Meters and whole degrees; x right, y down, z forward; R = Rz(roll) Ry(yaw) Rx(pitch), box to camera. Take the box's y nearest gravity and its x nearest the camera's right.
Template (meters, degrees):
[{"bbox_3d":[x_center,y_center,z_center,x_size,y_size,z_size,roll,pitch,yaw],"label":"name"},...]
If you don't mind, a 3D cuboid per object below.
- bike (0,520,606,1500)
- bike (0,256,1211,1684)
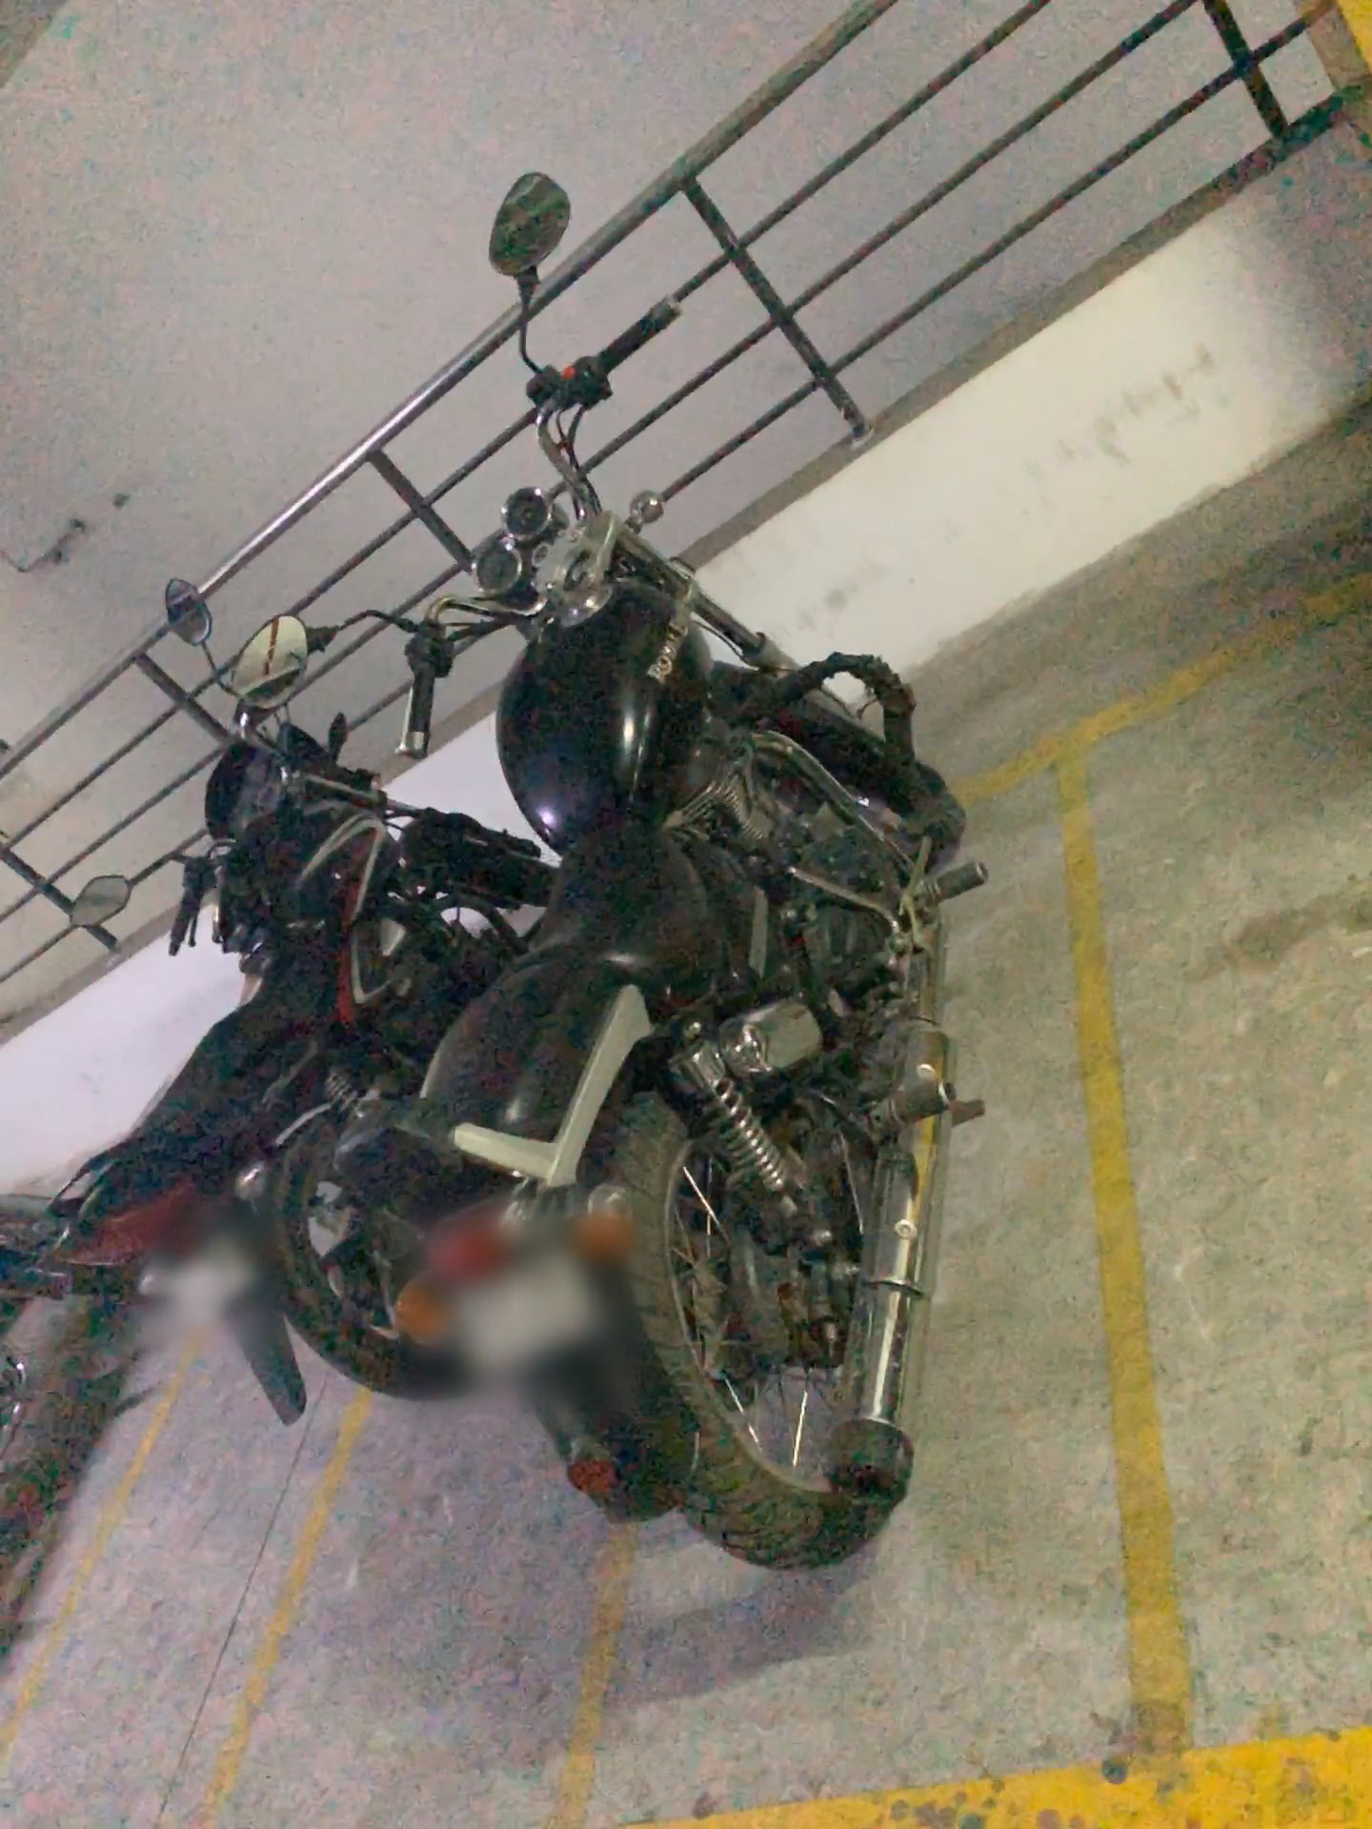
[{"bbox_3d":[-0.896,0.170,3.093,0.722,1.276,1.568,-30,32,27],"label":"bike"},{"bbox_3d":[-0.114,-0.048,2.220,0.854,1.231,1.803,-31,28,24],"label":"bike"}]
